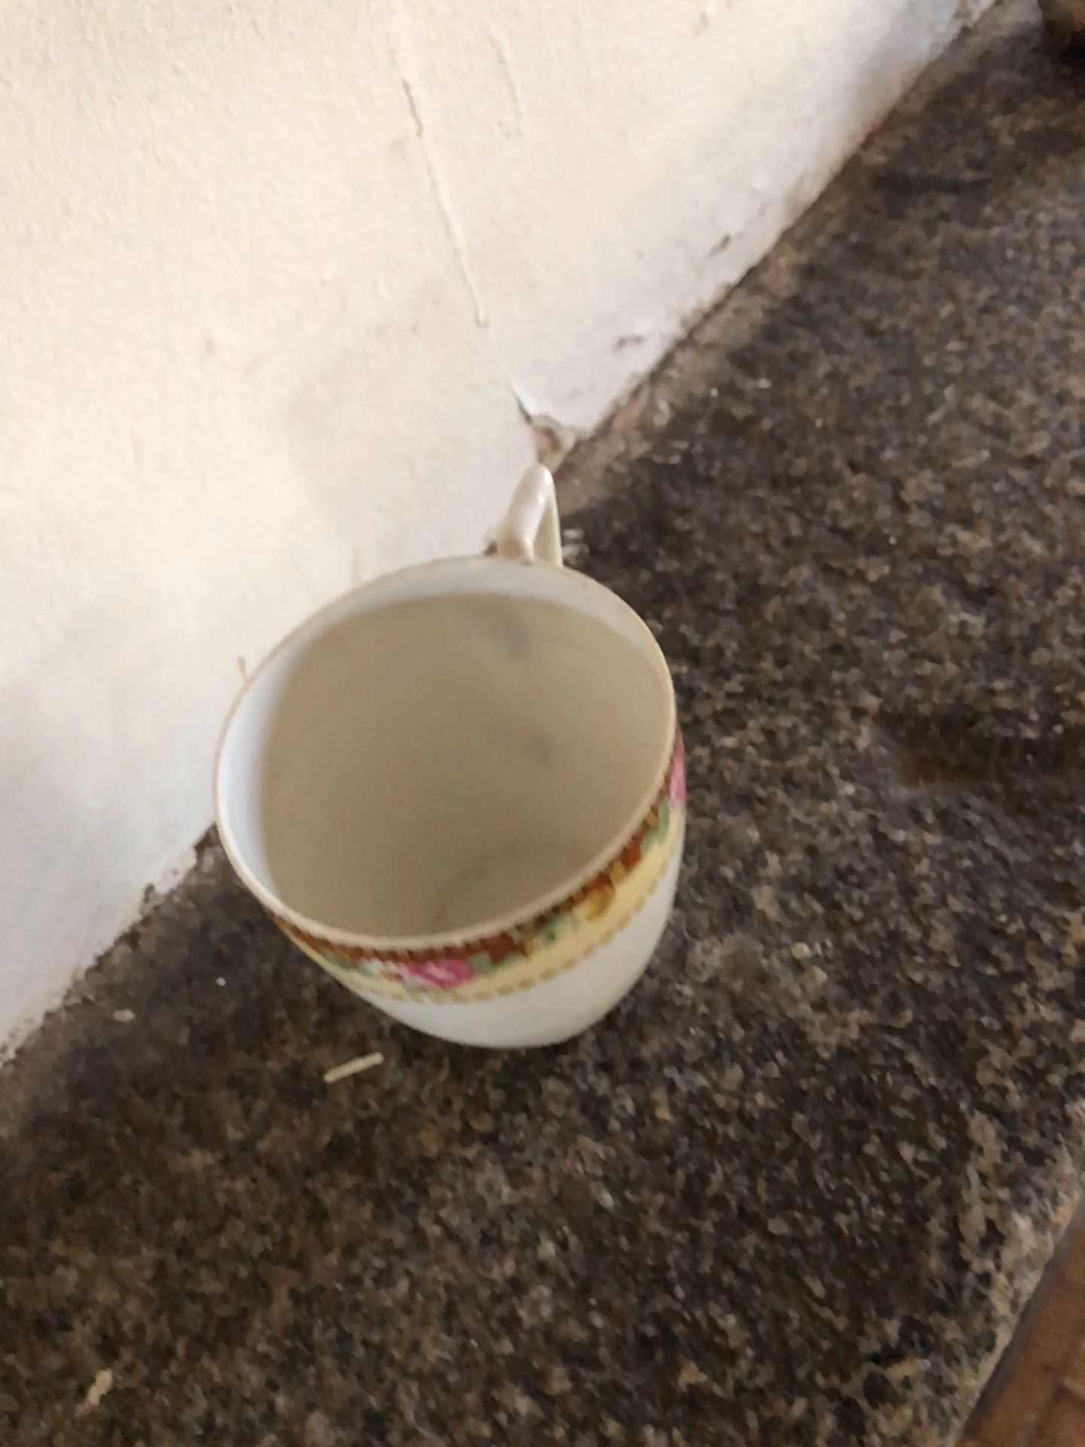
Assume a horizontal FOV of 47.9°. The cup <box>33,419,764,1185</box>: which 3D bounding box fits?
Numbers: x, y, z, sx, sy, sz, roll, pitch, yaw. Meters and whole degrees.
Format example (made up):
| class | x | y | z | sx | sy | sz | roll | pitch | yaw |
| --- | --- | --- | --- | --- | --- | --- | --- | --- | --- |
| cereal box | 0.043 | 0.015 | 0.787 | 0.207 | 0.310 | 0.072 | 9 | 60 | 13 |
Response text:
| class | x | y | z | sx | sy | sz | roll | pitch | yaw |
| --- | --- | --- | --- | --- | --- | --- | --- | --- | --- |
| cup | -0.013 | 0.010 | 0.195 | 0.070 | 0.060 | 0.090 | 14 | 60 | 21 |
